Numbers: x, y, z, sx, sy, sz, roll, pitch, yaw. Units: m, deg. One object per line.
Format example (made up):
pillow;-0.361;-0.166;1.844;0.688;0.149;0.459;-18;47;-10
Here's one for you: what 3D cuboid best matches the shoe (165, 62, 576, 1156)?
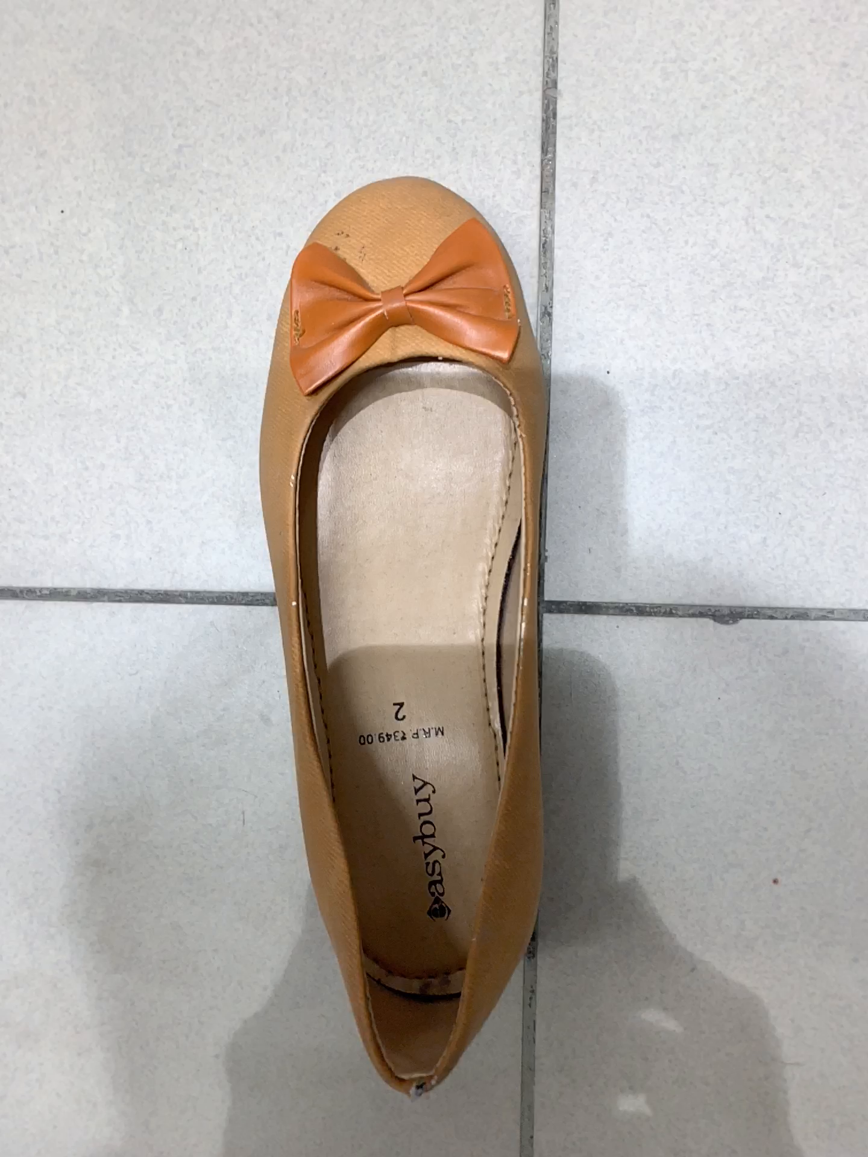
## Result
shoe;-0.009;0.011;0.213;0.080;0.070;0.220;0;92;5
